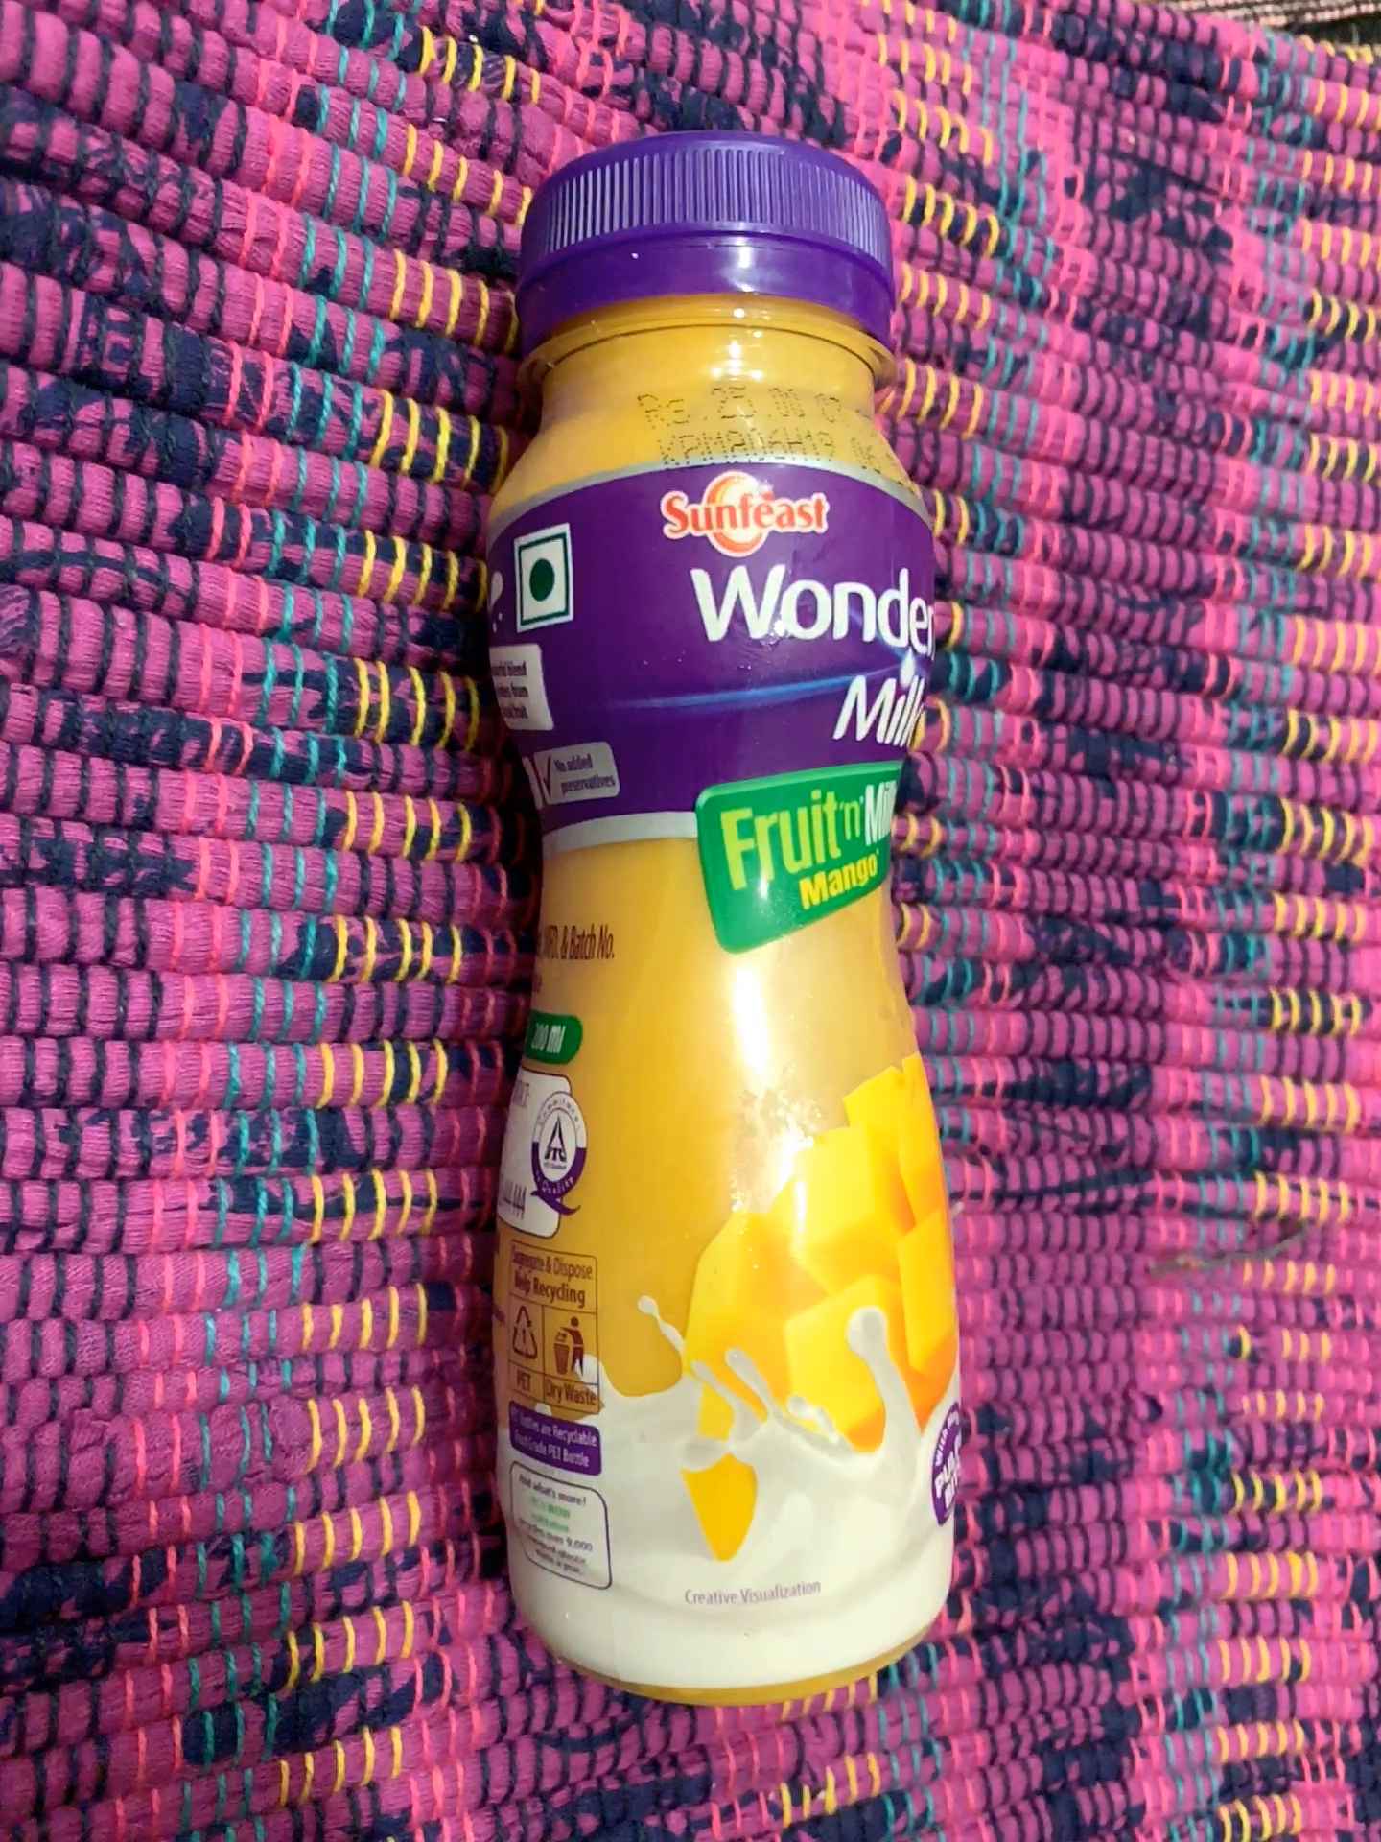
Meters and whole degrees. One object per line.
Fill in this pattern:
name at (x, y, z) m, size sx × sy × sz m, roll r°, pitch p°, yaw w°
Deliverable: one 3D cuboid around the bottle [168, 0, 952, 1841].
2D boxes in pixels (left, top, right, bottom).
bottle at (-0.013, 0.003, 0.137) m, size 0.050 × 0.040 × 0.150 m, roll -4°, pitch 90°, yaw -34°
